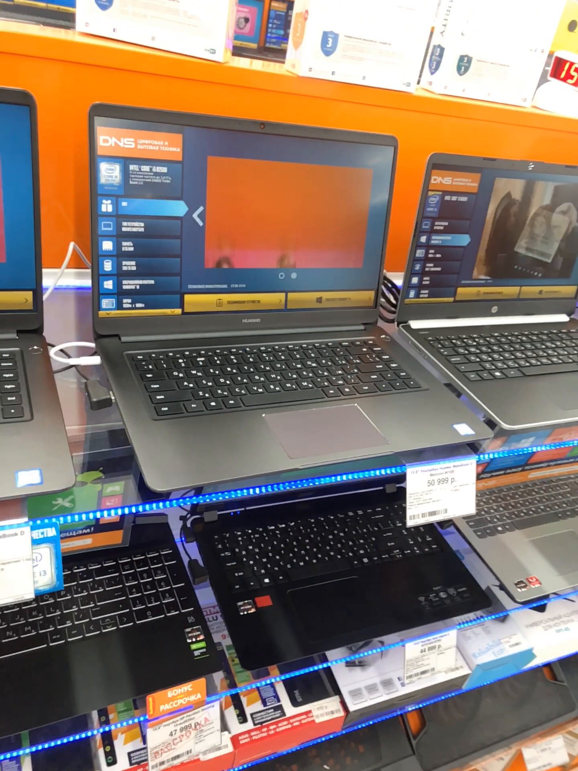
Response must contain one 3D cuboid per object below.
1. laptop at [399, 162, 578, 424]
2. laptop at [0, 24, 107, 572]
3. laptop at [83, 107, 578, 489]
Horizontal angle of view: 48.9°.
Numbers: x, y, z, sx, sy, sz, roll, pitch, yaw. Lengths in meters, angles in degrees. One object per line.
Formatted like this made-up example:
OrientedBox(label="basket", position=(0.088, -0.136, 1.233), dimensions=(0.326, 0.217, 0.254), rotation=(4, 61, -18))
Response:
OrientedBox(label="laptop", position=(0.330, -0.127, 0.753), dimensions=(0.270, 0.195, 0.244), rotation=(-6, 37, -21))
OrientedBox(label="laptop", position=(-0.349, -0.070, 0.428), dimensions=(0.356, 0.230, 0.242), rotation=(-6, 35, -27))
OrientedBox(label="laptop", position=(0.007, -0.102, 0.610), dimensions=(0.339, 0.212, 0.288), rotation=(-5, 36, -27))
